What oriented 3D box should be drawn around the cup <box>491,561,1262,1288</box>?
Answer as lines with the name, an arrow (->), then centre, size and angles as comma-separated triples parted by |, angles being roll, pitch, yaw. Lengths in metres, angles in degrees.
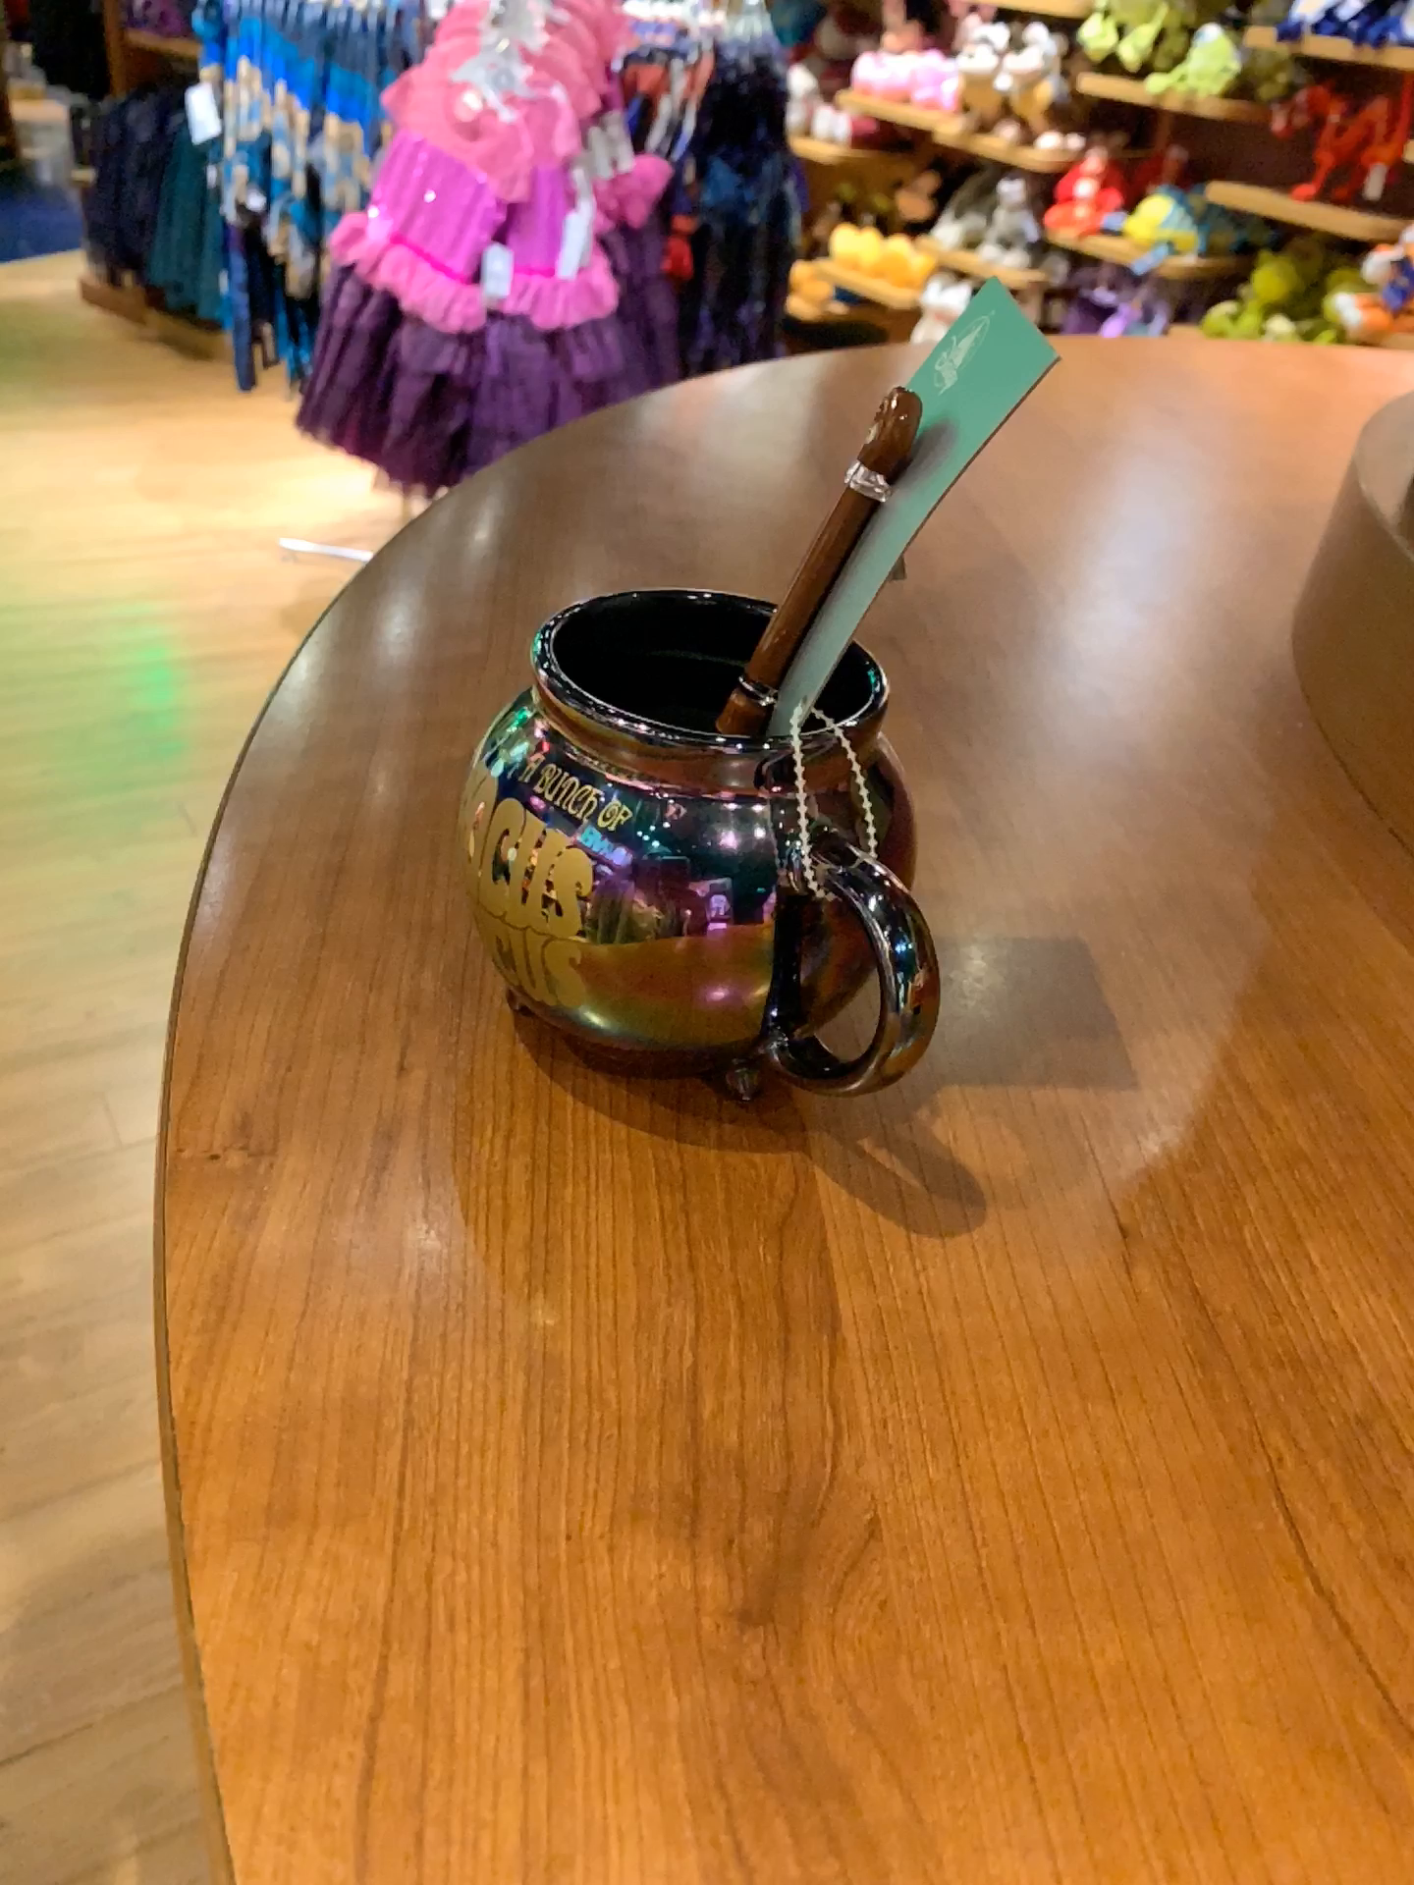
cup -> 0.028, -0.016, 0.336 | 0.100, 0.089, 0.137 | -16, 40, -31
